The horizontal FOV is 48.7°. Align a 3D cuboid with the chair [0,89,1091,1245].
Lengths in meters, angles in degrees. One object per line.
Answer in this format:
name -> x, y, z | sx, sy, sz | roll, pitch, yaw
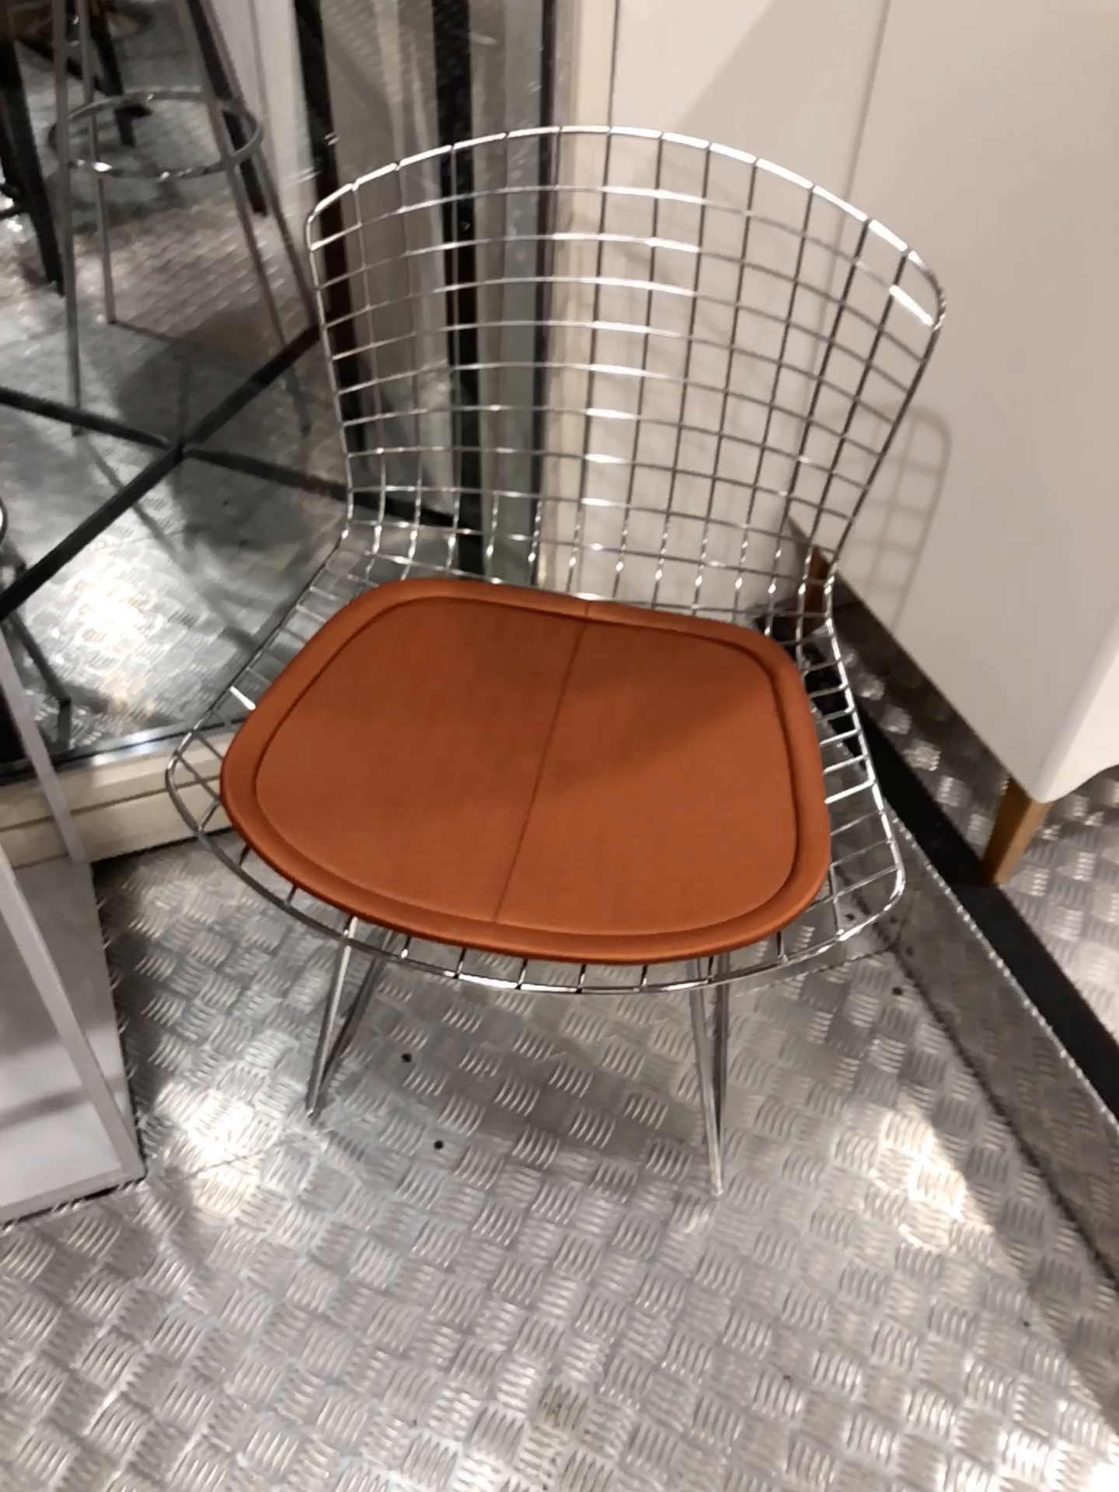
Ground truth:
chair -> 0.012, -0.053, 1.048 | 0.550, 0.705, 0.574 | 9, 46, 6
